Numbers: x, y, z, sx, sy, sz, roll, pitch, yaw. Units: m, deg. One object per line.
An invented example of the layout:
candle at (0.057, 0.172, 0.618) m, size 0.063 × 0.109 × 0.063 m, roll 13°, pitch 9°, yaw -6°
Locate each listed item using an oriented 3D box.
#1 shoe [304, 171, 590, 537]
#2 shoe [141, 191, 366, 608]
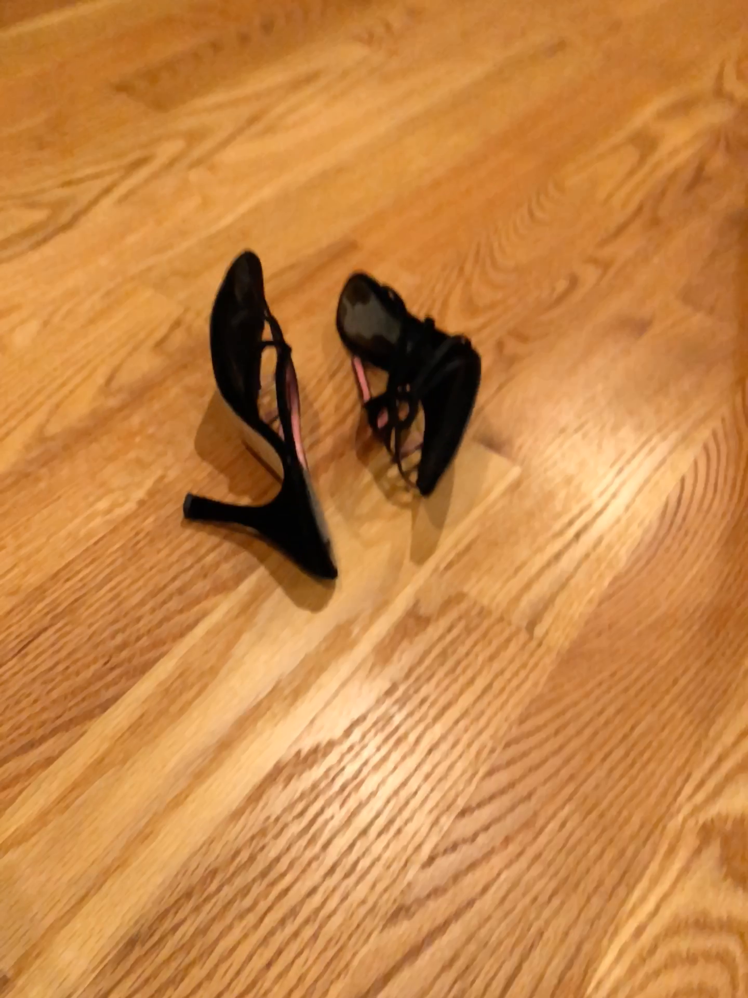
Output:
shoe at (0.030, -0.100, 0.526) m, size 0.102 × 0.104 × 0.216 m, roll -9°, pitch 52°, yaw -14°
shoe at (-0.079, -0.069, 0.486) m, size 0.082 × 0.104 × 0.236 m, roll -7°, pitch 51°, yaw -15°
